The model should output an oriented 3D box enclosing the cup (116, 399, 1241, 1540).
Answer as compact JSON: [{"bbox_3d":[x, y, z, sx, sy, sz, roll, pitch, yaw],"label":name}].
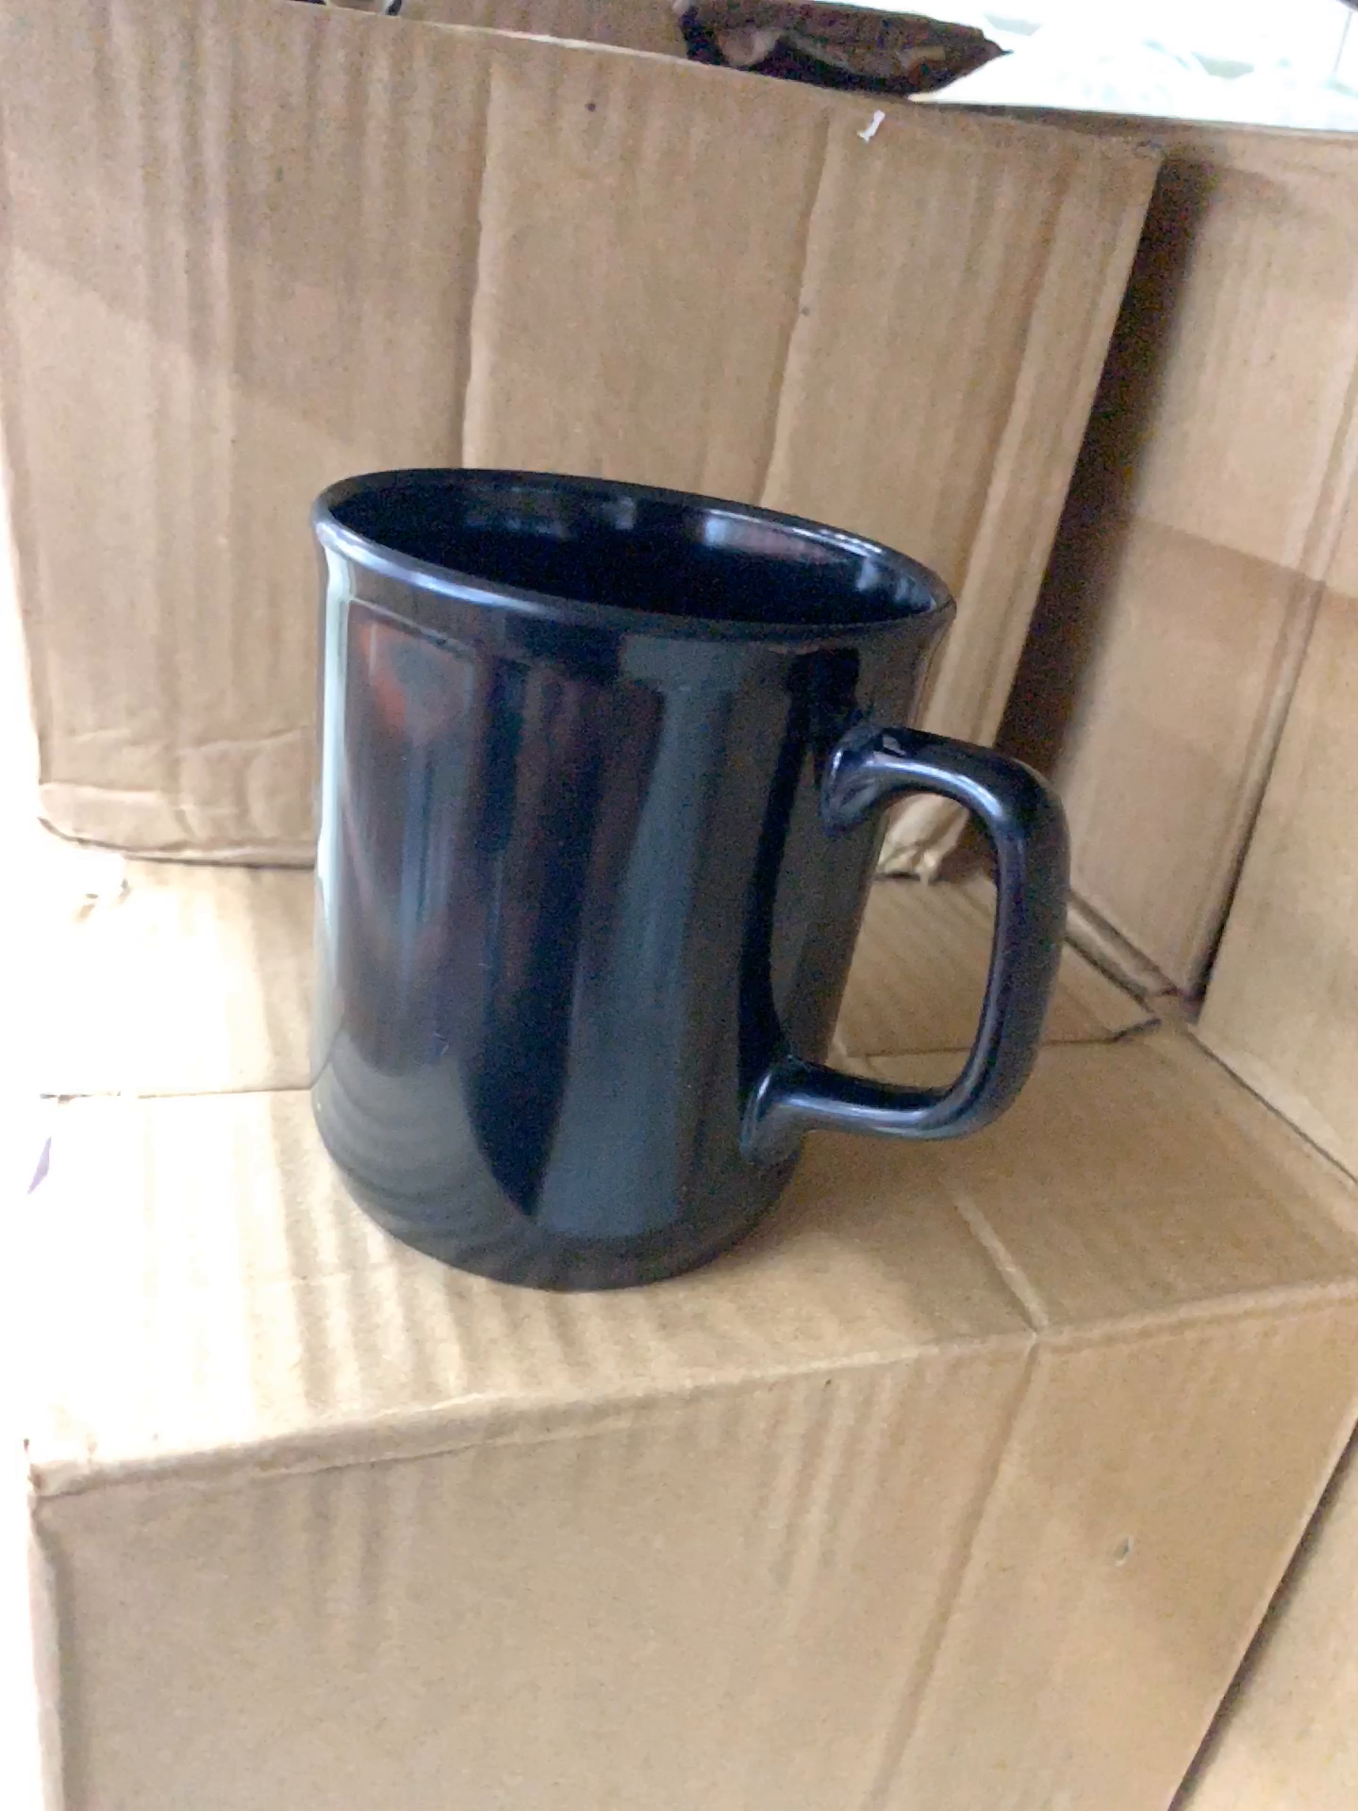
[{"bbox_3d":[-0.004,-0.005,0.174,0.100,0.089,0.070,23,31,31],"label":"cup"}]
